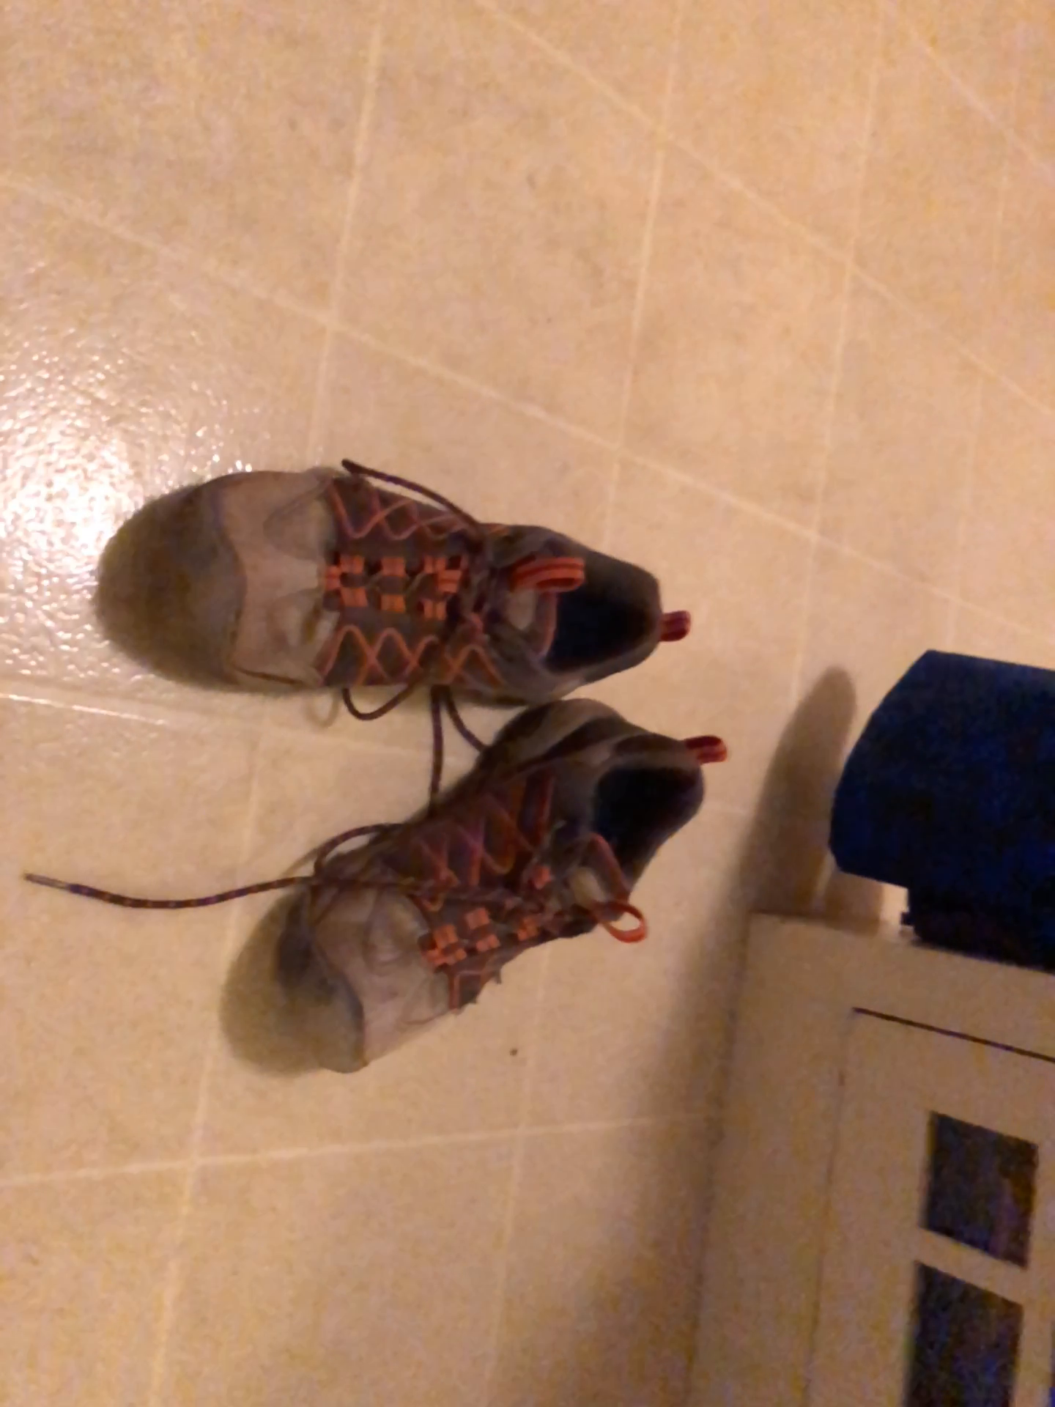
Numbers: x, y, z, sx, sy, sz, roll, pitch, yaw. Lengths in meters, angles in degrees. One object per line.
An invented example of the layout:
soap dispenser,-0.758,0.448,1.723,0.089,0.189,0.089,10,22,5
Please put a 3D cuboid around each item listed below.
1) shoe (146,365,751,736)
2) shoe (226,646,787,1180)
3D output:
shoe,-0.029,-0.062,0.620,0.293,0.121,0.127,8,86,-40
shoe,0.001,0.096,0.657,0.283,0.121,0.127,-40,116,-32
